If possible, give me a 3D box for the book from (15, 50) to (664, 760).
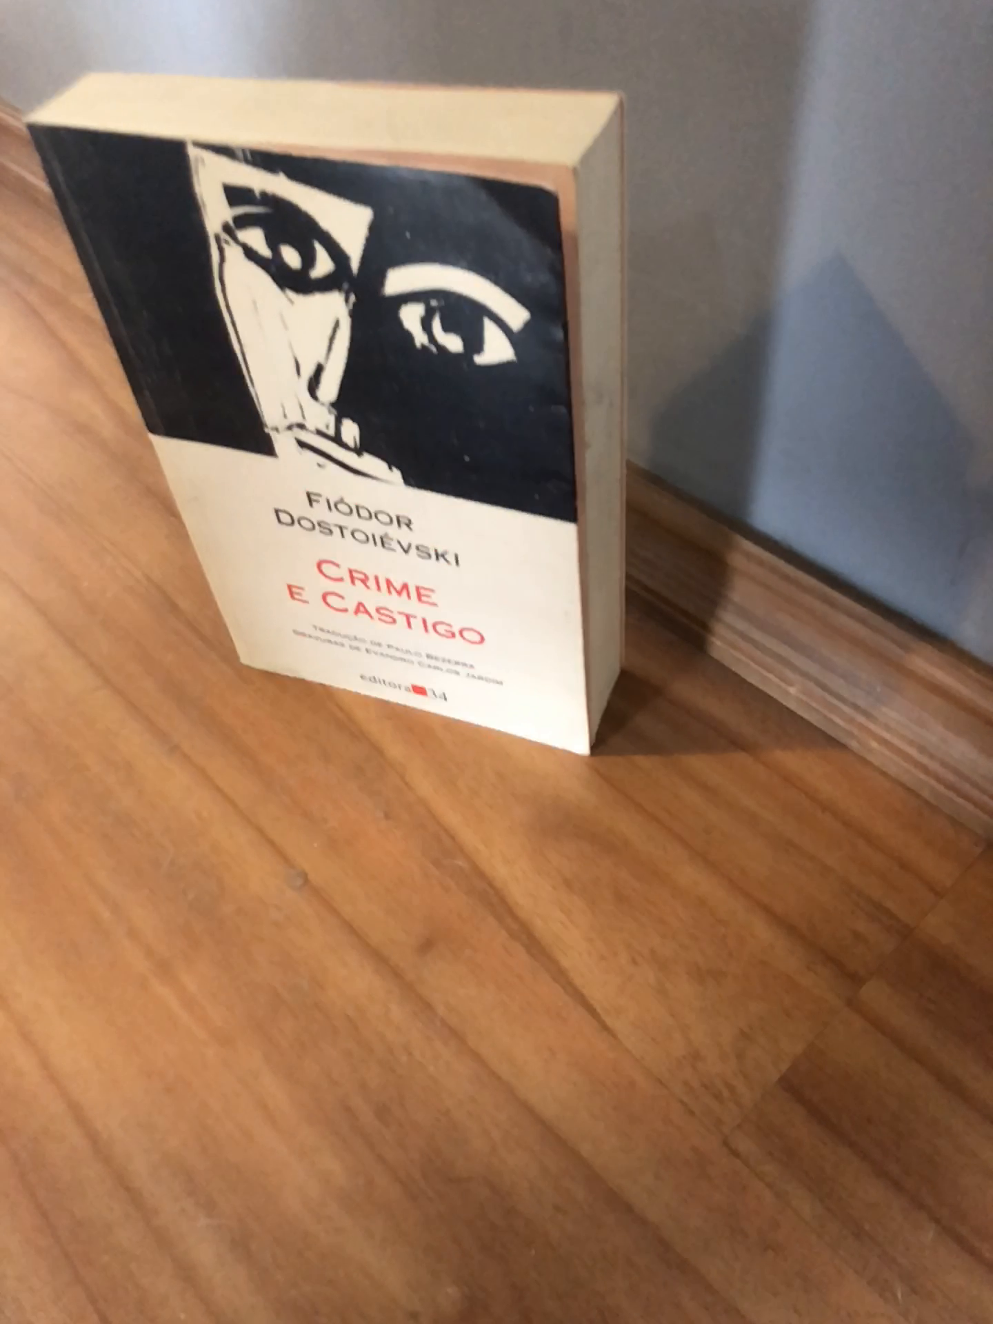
[{"bbox_3d":[-0.037,-0.073,0.370,0.170,0.222,0.046,15,51,18],"label":"book"}]
